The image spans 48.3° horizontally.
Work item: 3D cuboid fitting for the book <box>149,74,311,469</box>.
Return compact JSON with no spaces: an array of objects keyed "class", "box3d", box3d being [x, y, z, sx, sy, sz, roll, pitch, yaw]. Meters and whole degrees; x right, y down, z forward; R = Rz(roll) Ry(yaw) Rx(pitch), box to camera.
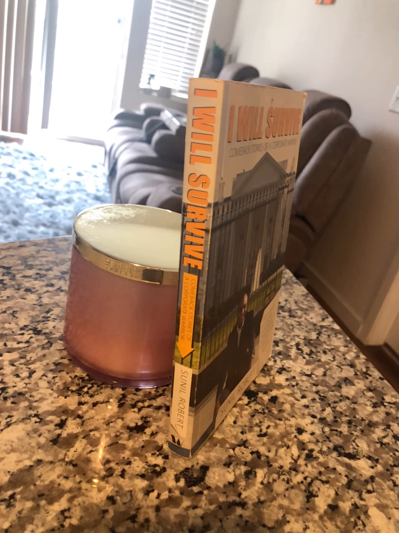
[{"class":"book","box3d":[0.021,-0.006,0.266,0.032,0.191,0.135,13,22,23]}]
